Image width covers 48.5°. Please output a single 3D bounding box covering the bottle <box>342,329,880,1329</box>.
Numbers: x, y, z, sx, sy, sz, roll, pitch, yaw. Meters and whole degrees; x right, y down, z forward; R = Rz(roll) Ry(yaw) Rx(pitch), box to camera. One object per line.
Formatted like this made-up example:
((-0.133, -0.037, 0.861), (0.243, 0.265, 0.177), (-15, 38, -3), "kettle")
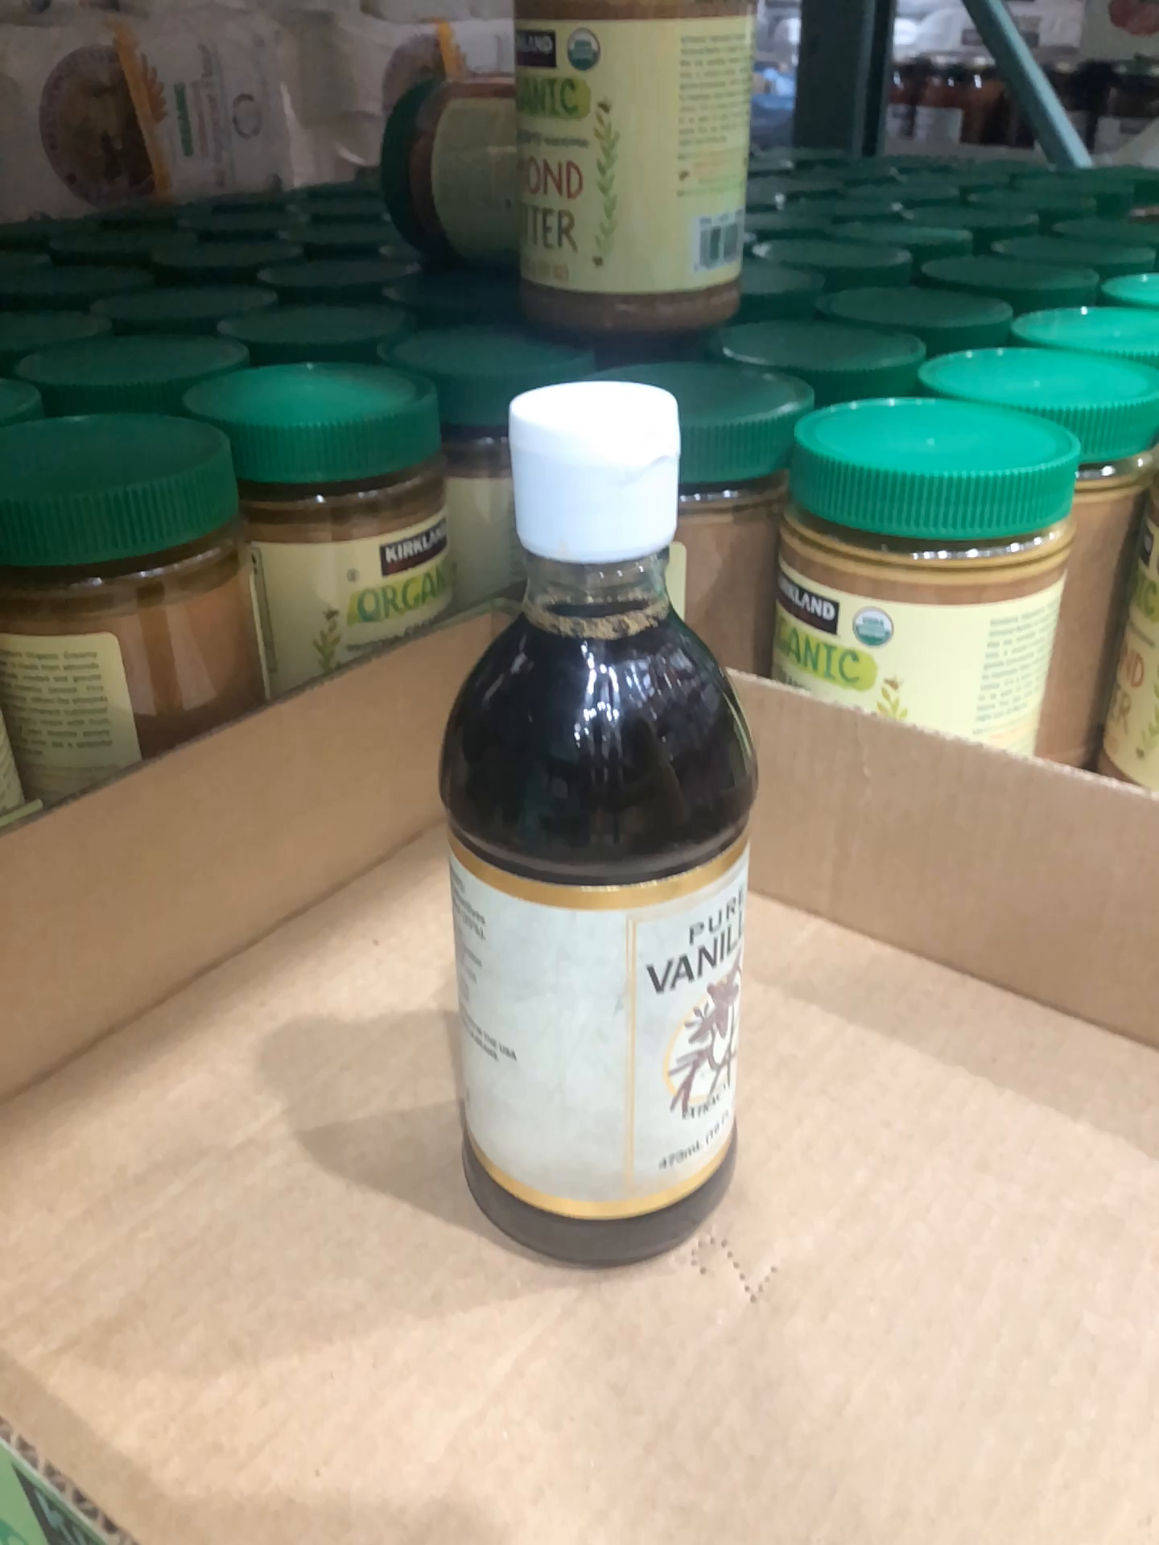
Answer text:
((0.008, 0.015, 0.285), (0.070, 0.199, 0.070), (-1, 30, 0), "bottle")
